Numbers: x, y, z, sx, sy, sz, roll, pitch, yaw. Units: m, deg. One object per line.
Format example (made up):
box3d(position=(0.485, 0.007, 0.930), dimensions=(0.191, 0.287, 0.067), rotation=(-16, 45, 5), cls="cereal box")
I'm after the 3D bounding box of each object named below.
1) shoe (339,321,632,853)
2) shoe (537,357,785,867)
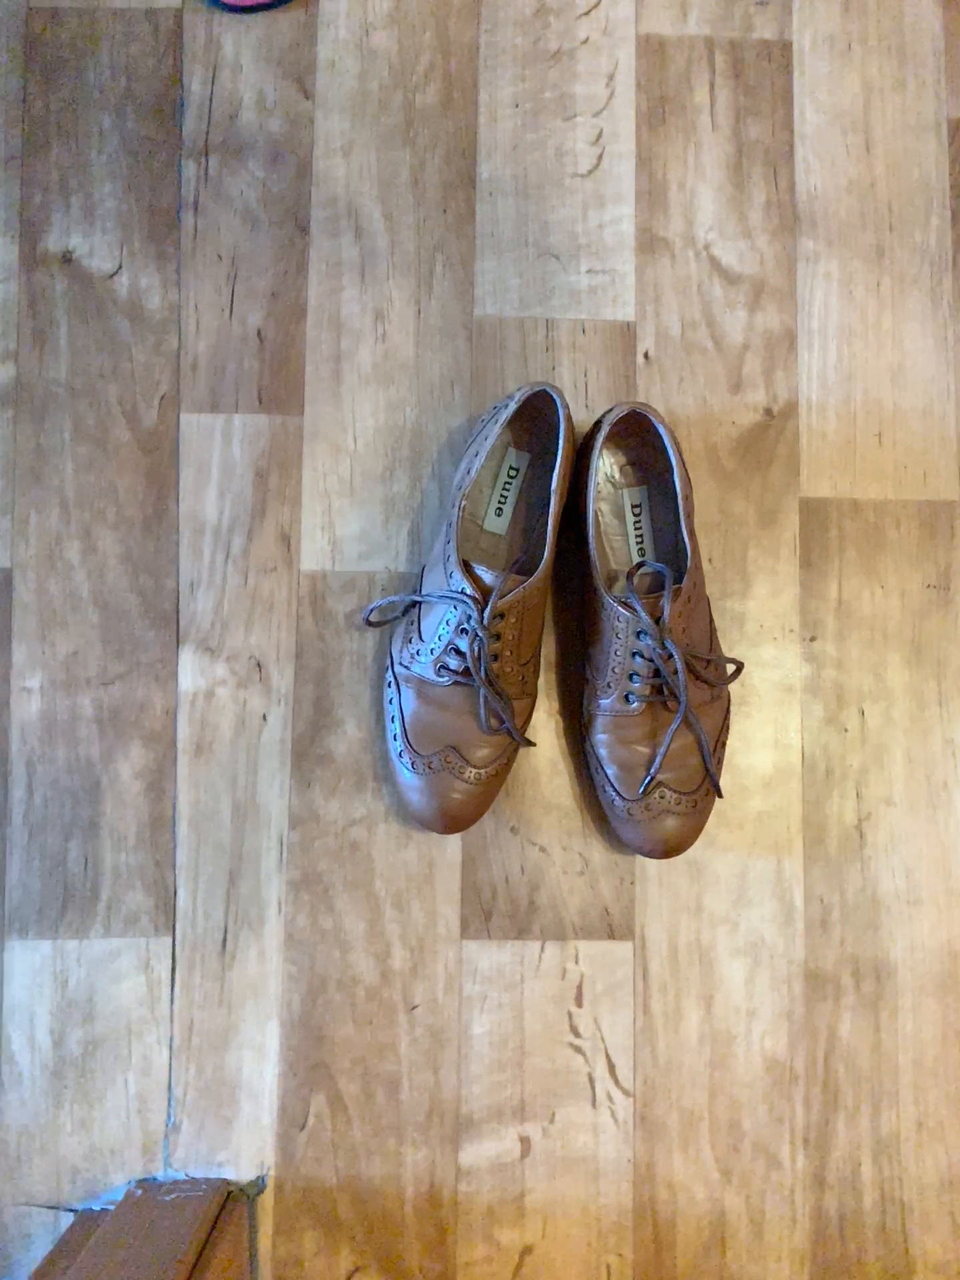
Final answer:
box3d(position=(0.003, -0.022, 0.524), dimensions=(0.090, 0.120, 0.240), rotation=(12, 84, -1), cls="shoe")
box3d(position=(0.085, -0.010, 0.510), dimensions=(0.080, 0.120, 0.230), rotation=(-5, 84, -2), cls="shoe")
